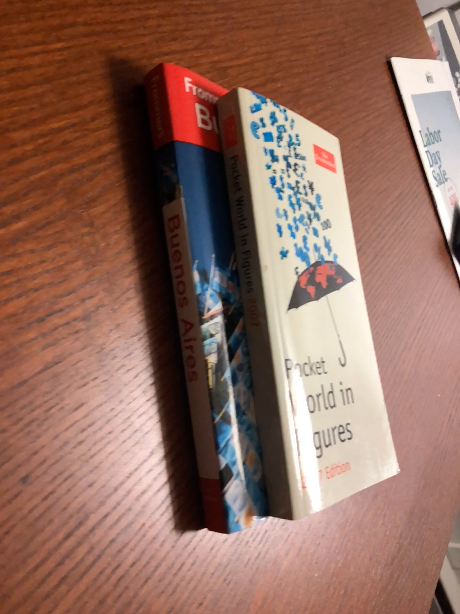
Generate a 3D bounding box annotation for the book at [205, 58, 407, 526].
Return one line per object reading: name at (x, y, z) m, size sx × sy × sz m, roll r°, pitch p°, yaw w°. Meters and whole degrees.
book at (0.041, -0.010, 0.257) m, size 0.100 × 0.020 × 0.200 m, roll 2°, pitch 78°, yaw -48°

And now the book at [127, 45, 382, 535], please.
book at (0.022, -0.012, 0.273) m, size 0.141 × 0.020 × 0.210 m, roll -1°, pitch 80°, yaw -48°
